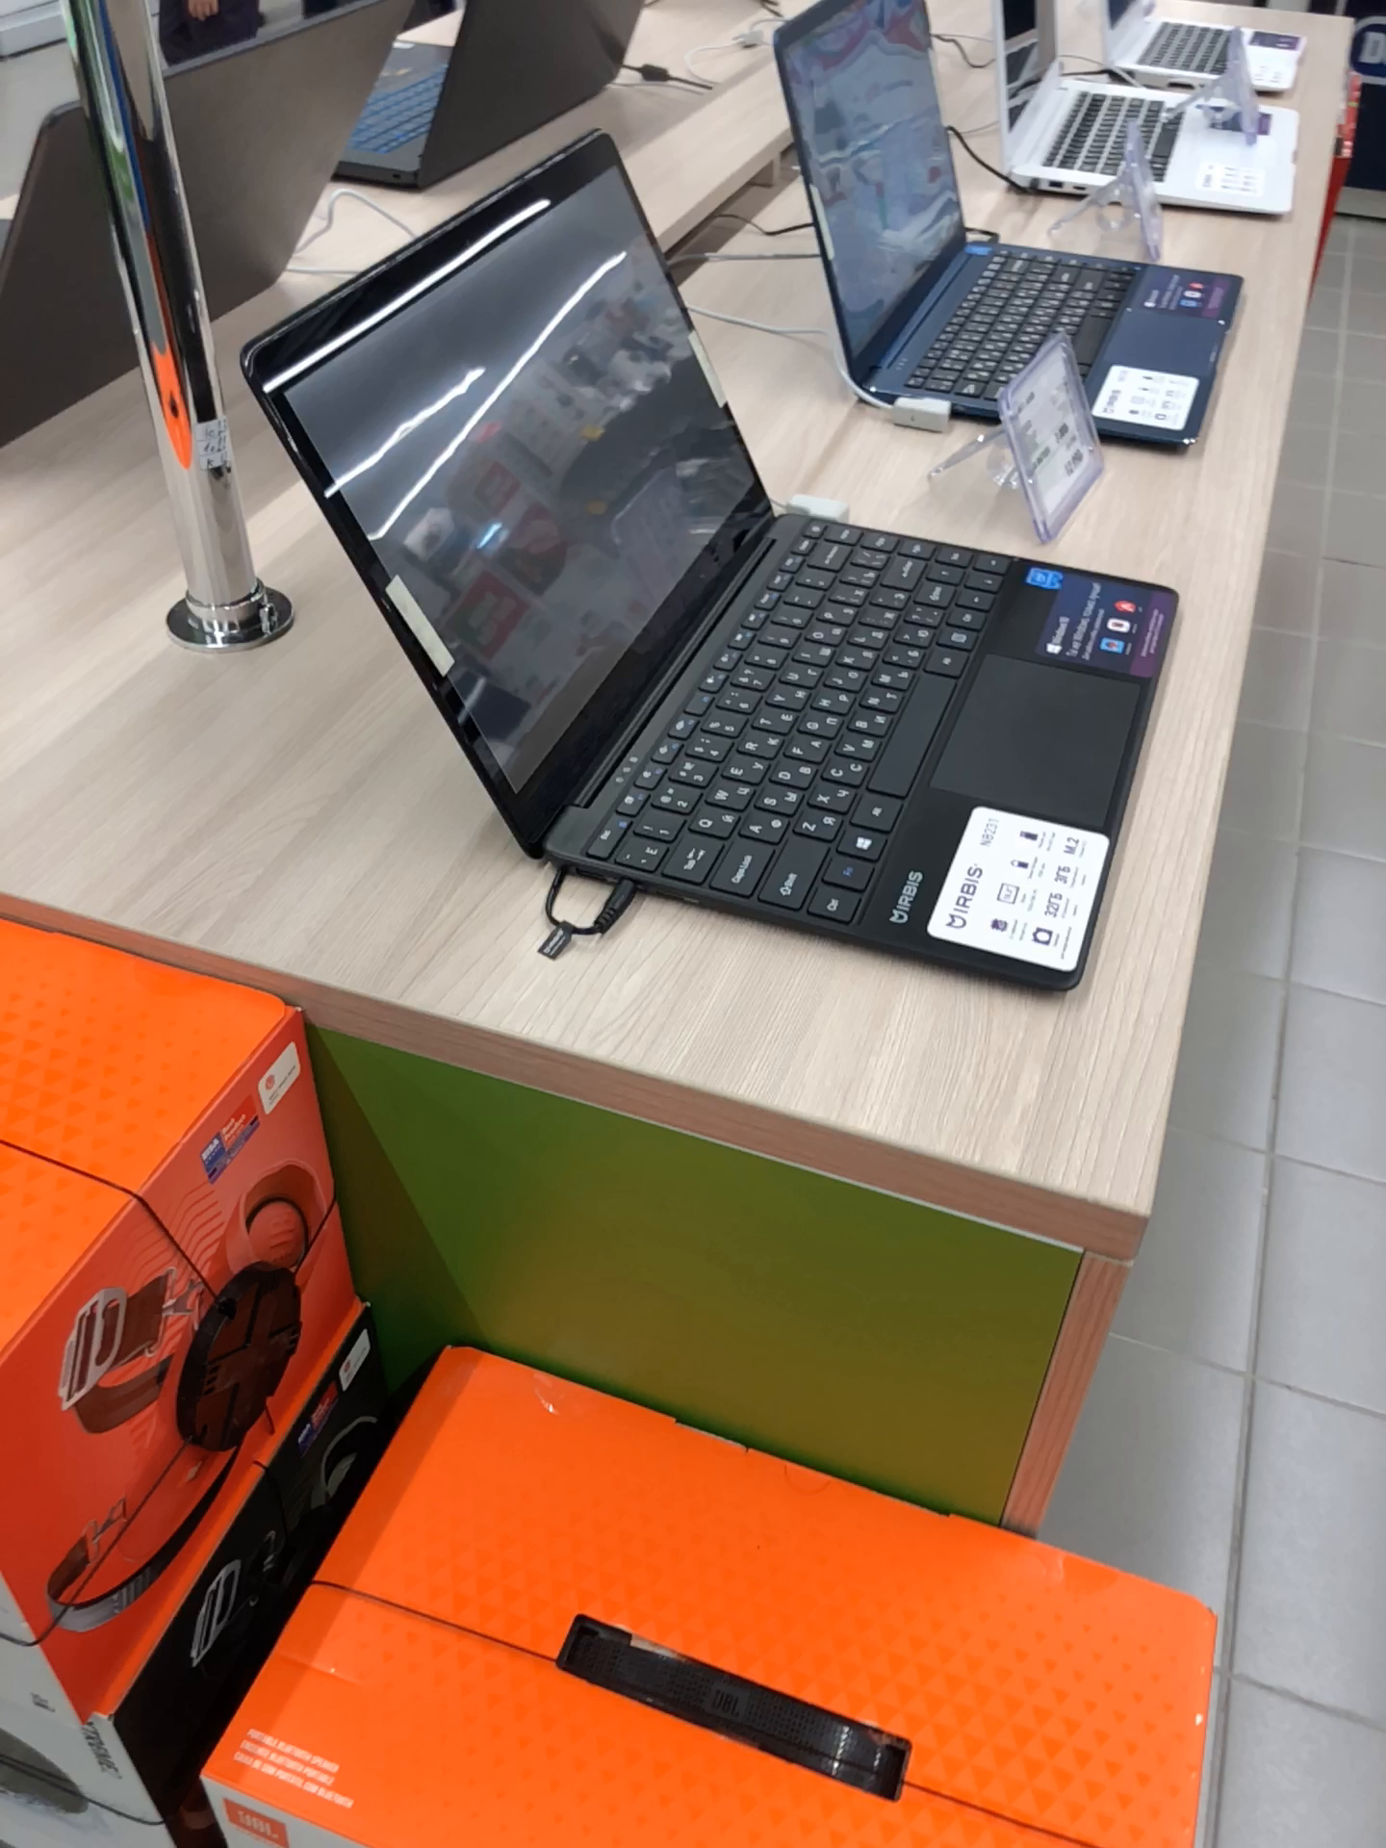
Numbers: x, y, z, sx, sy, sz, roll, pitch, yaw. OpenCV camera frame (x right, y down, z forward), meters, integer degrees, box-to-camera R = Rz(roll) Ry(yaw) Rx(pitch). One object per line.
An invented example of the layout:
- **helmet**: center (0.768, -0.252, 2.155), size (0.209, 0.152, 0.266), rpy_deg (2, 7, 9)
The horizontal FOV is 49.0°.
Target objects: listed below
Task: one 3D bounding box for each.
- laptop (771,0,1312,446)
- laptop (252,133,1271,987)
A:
- **laptop**: center (0.227, -0.480, 0.981), size (0.265, 0.186, 0.310), rpy_deg (15, 43, 16)
- **laptop**: center (0.048, -0.176, 0.630), size (0.306, 0.172, 0.306), rpy_deg (15, 43, 14)
